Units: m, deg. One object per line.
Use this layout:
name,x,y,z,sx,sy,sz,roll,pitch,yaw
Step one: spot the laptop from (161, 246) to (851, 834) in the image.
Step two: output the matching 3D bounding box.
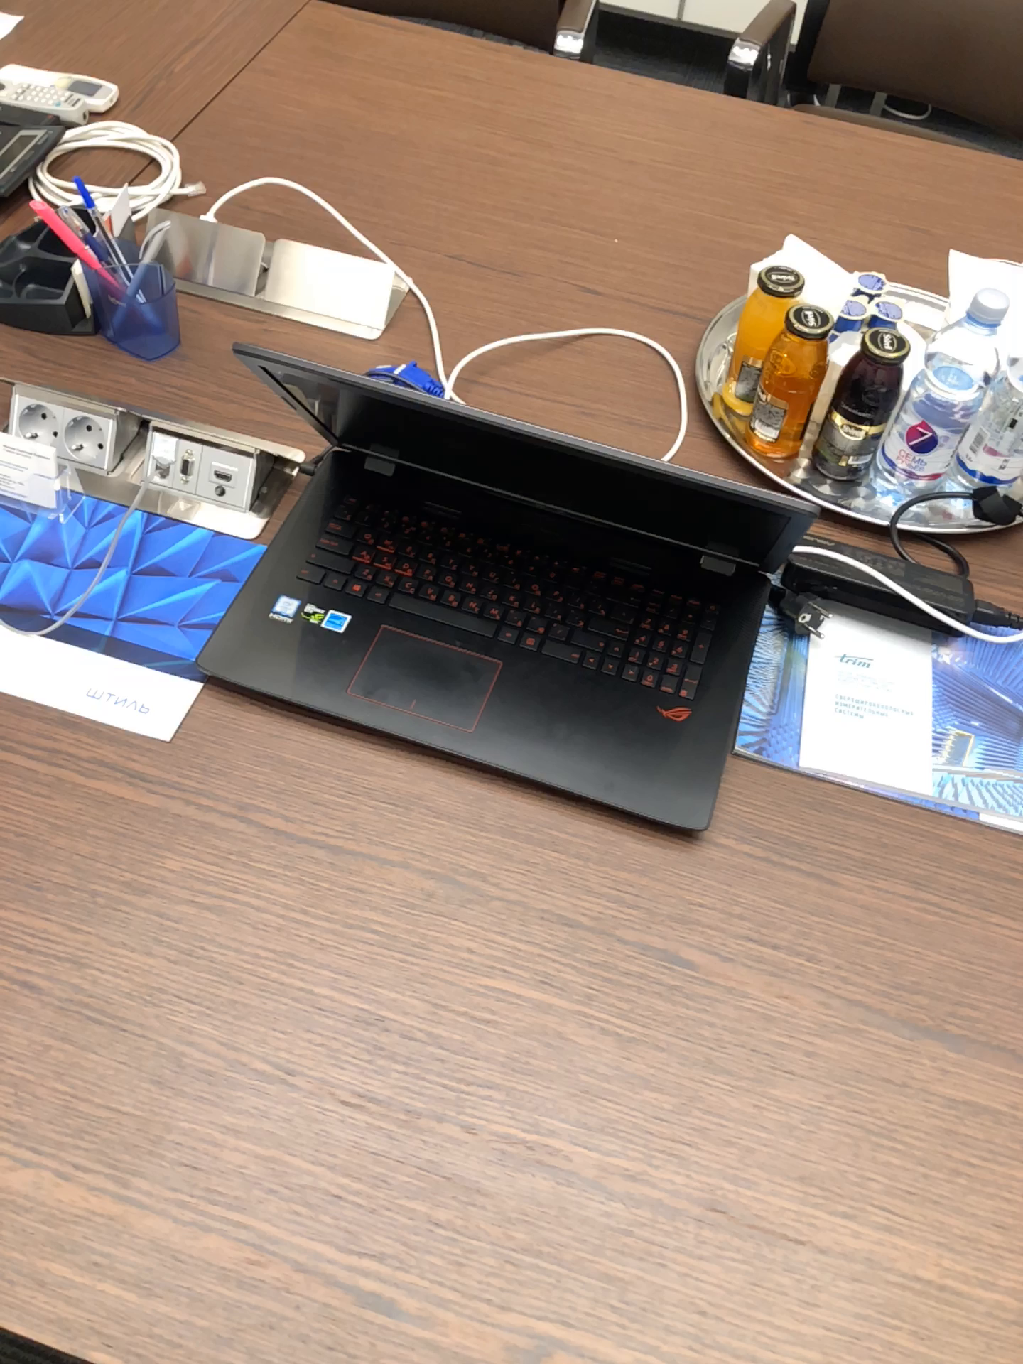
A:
laptop,0.002,-0.102,0.775,0.376,0.189,0.238,17,55,7
